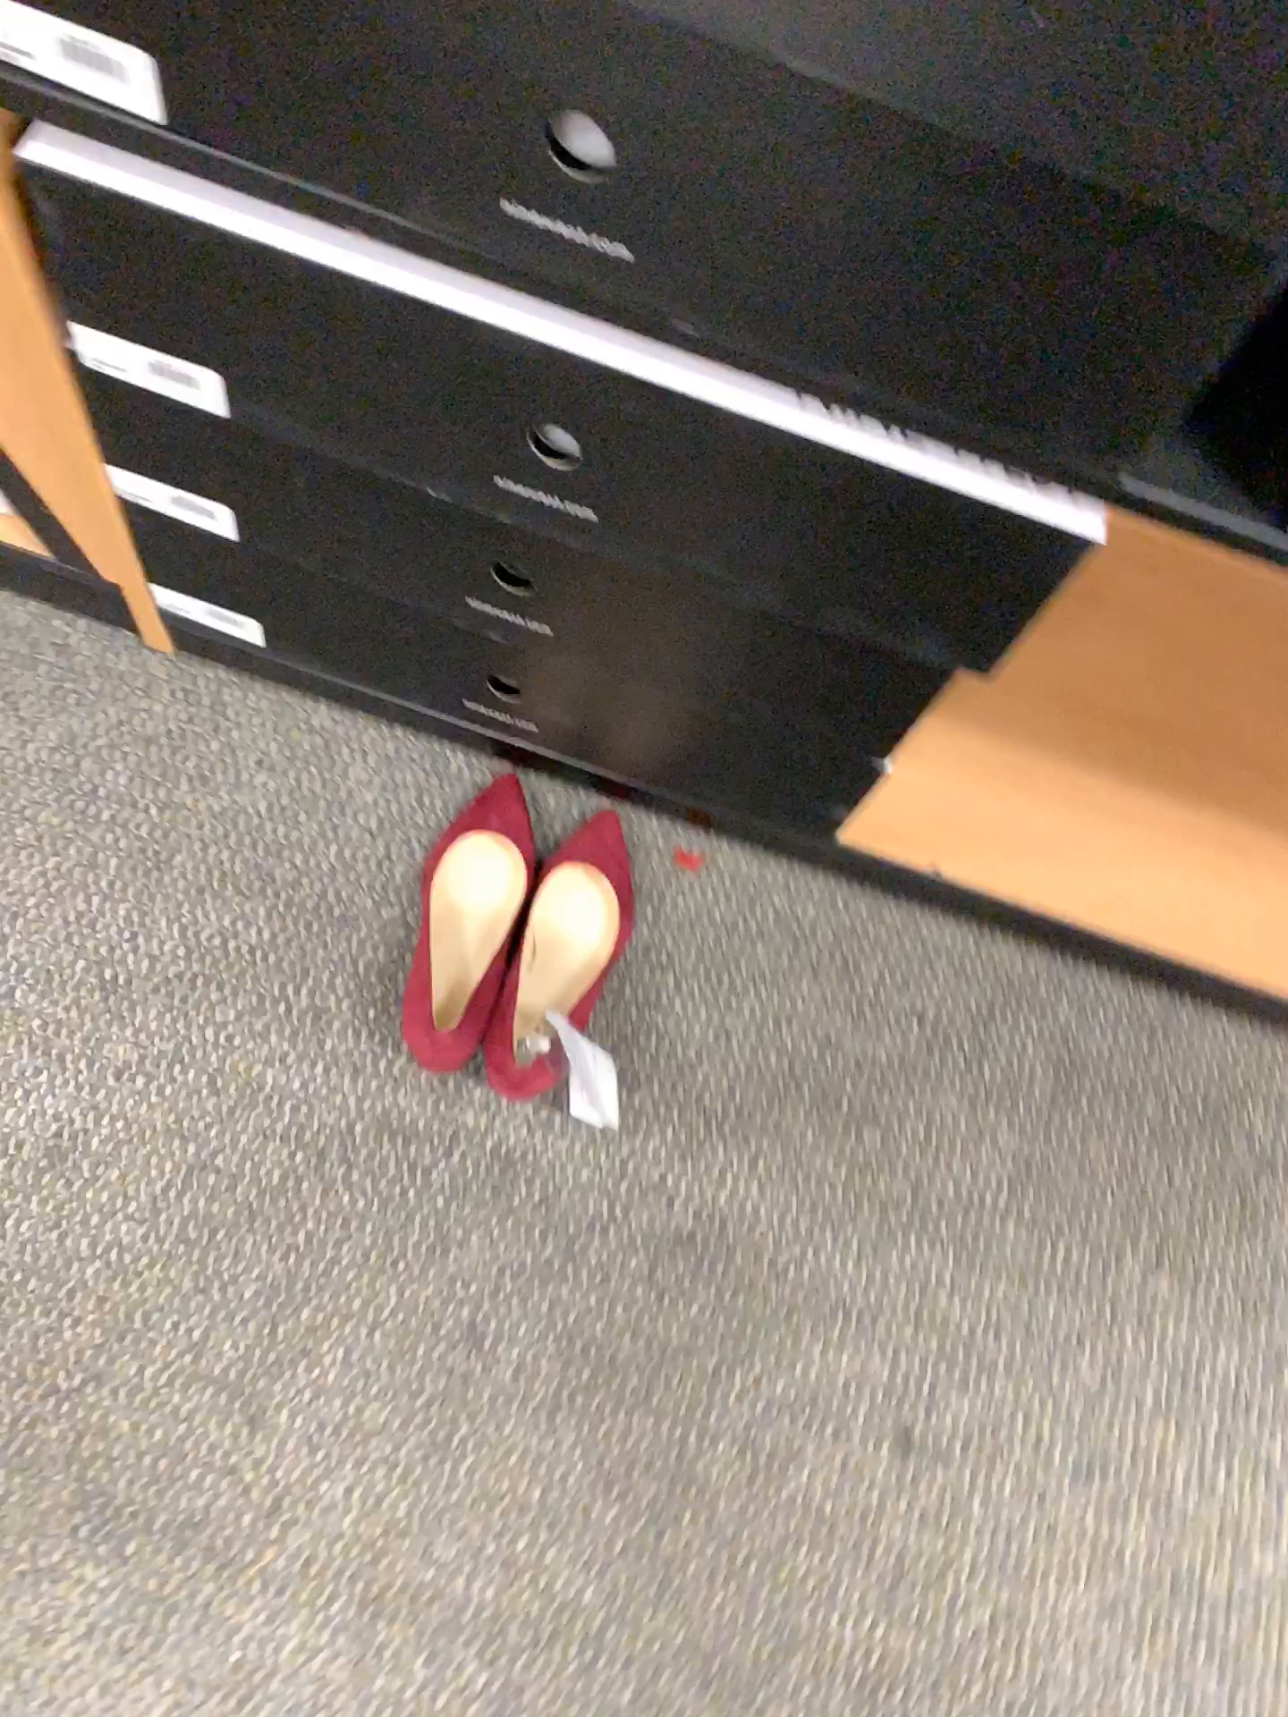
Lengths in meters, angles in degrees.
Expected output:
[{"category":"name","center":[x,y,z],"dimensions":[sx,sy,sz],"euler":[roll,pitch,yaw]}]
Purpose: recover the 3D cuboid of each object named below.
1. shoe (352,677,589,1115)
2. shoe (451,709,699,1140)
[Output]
[{"category":"shoe","center":[-0.123,0.035,0.939],"dimensions":[0.090,0.200,0.250],"euler":[15,69,-4]},{"category":"shoe","center":[-0.054,0.056,0.949],"dimensions":[0.090,0.200,0.250],"euler":[18,69,-3]}]
